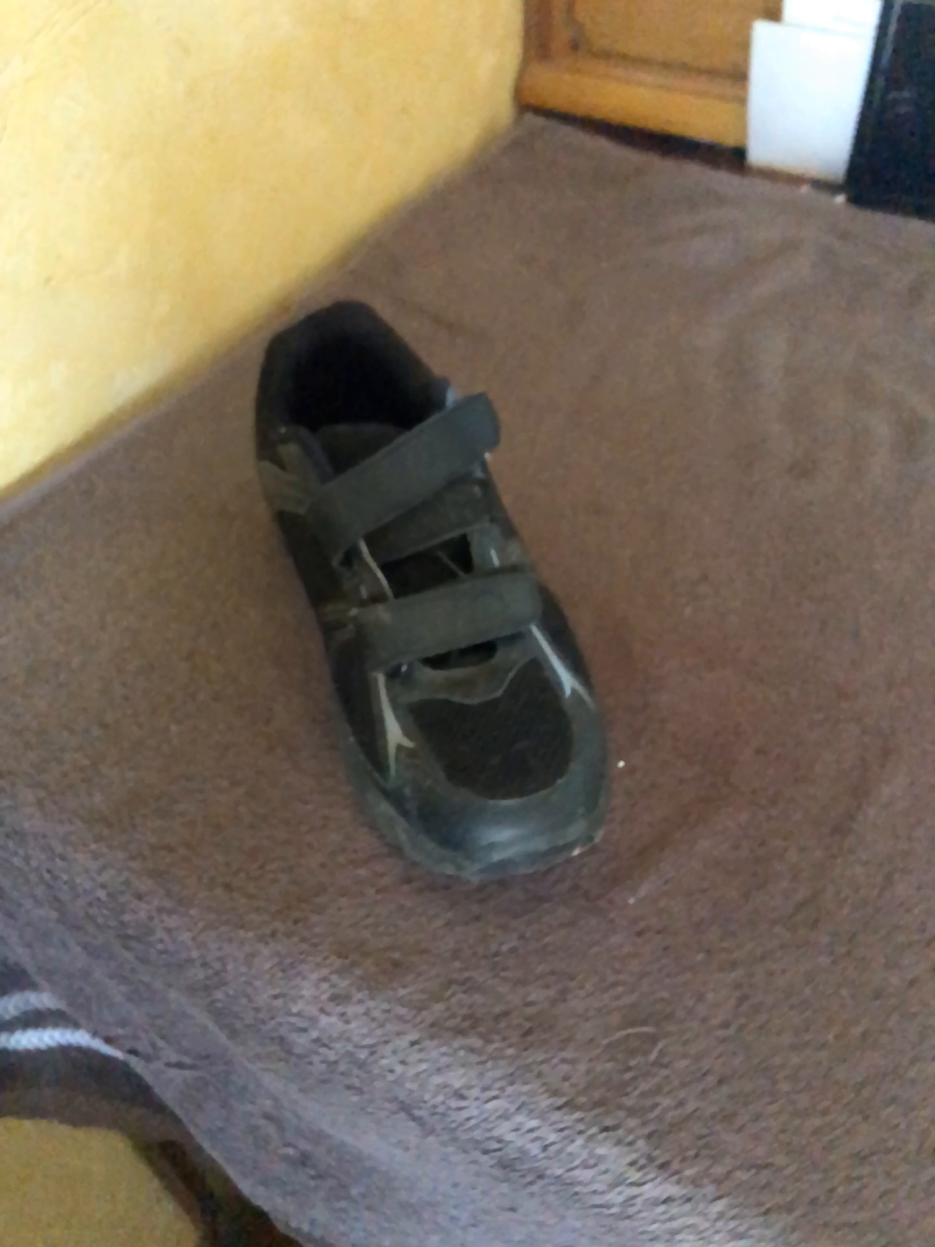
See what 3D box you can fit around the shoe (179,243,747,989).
[{"bbox_3d":[-0.021,-0.024,0.404,0.110,0.109,0.271,-16,49,-13],"label":"shoe"}]
